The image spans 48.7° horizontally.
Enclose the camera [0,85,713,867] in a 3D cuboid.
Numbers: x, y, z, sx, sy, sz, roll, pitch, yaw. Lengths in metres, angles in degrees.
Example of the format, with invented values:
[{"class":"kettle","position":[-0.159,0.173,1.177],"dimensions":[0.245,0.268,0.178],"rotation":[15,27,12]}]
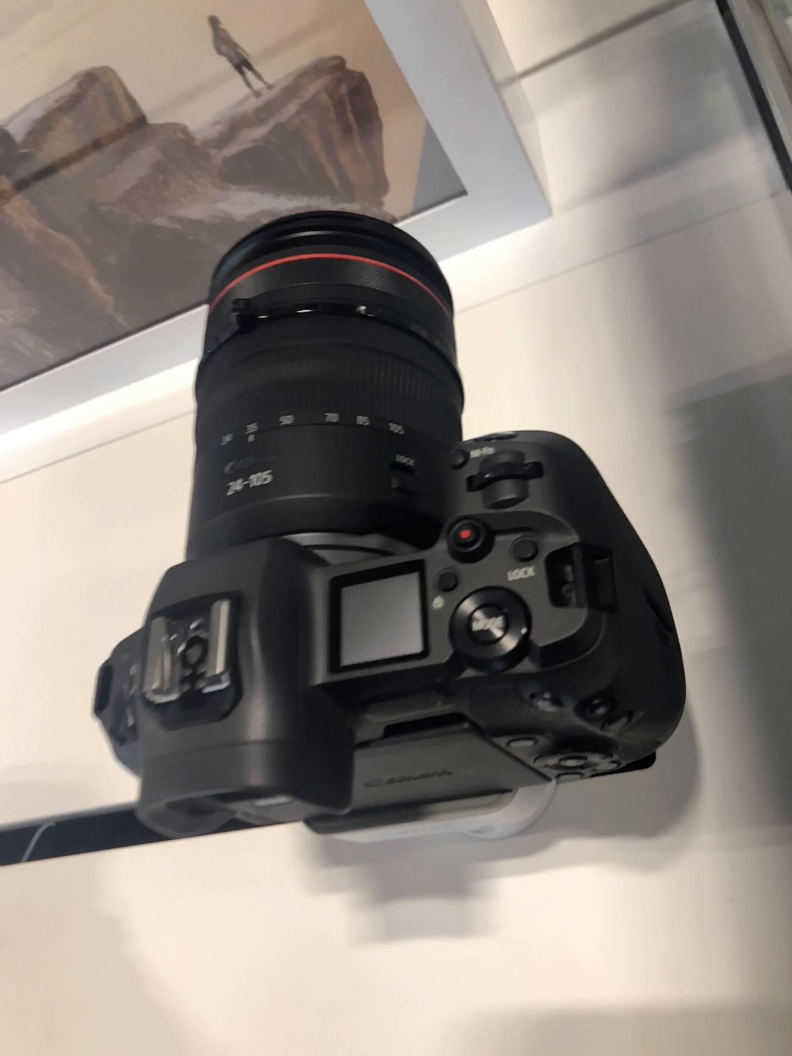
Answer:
[{"class":"camera","position":[-0.014,-0.003,0.225],"dimensions":[0.139,0.086,0.145],"rotation":[-17,57,22]}]
